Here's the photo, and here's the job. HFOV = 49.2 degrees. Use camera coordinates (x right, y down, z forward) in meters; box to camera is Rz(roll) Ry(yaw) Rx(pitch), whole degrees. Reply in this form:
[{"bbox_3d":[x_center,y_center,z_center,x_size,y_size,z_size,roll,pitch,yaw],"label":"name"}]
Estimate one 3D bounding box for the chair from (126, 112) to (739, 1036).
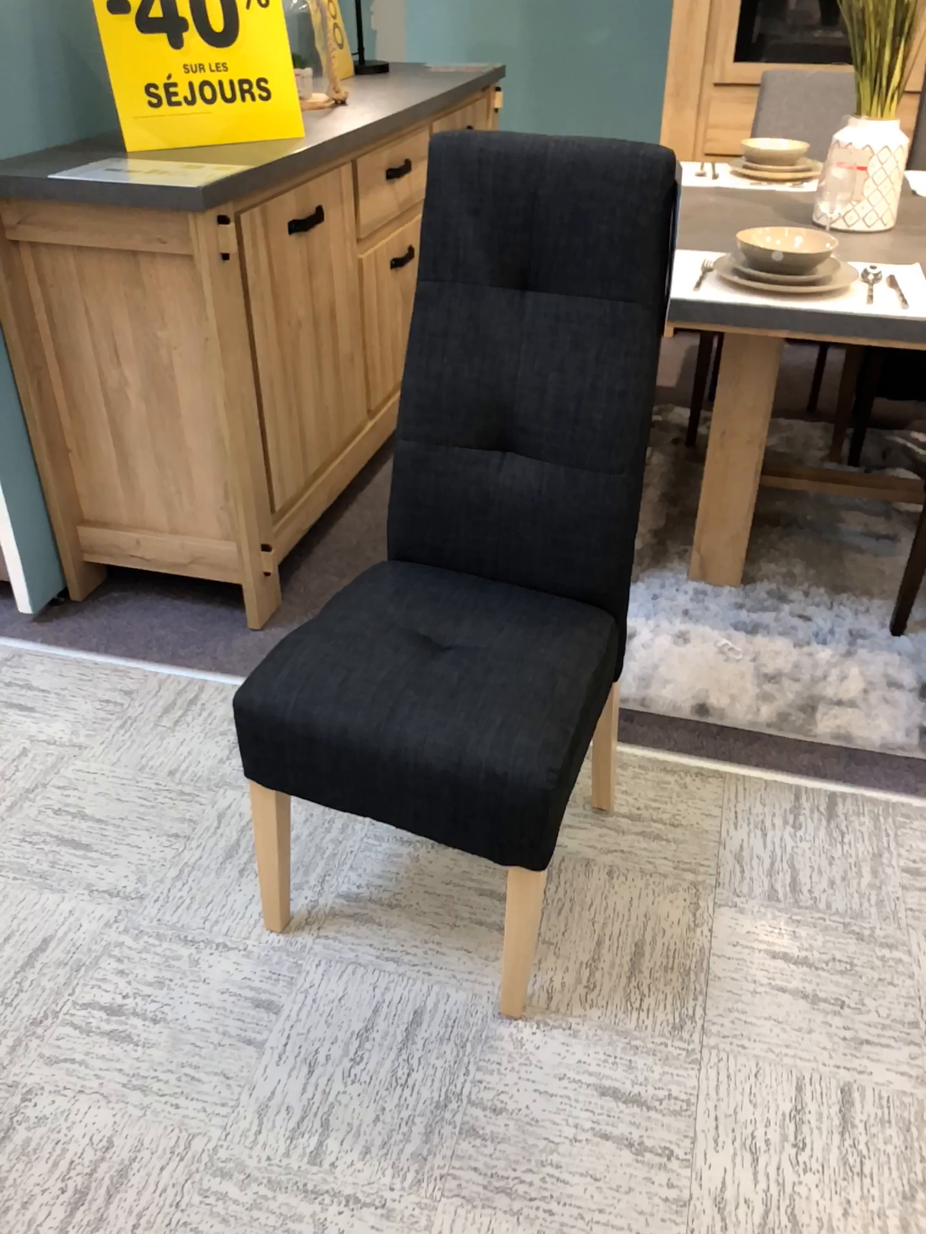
[{"bbox_3d":[0.015,-0.071,1.399,0.480,1.043,0.604,12,35,18],"label":"chair"}]
